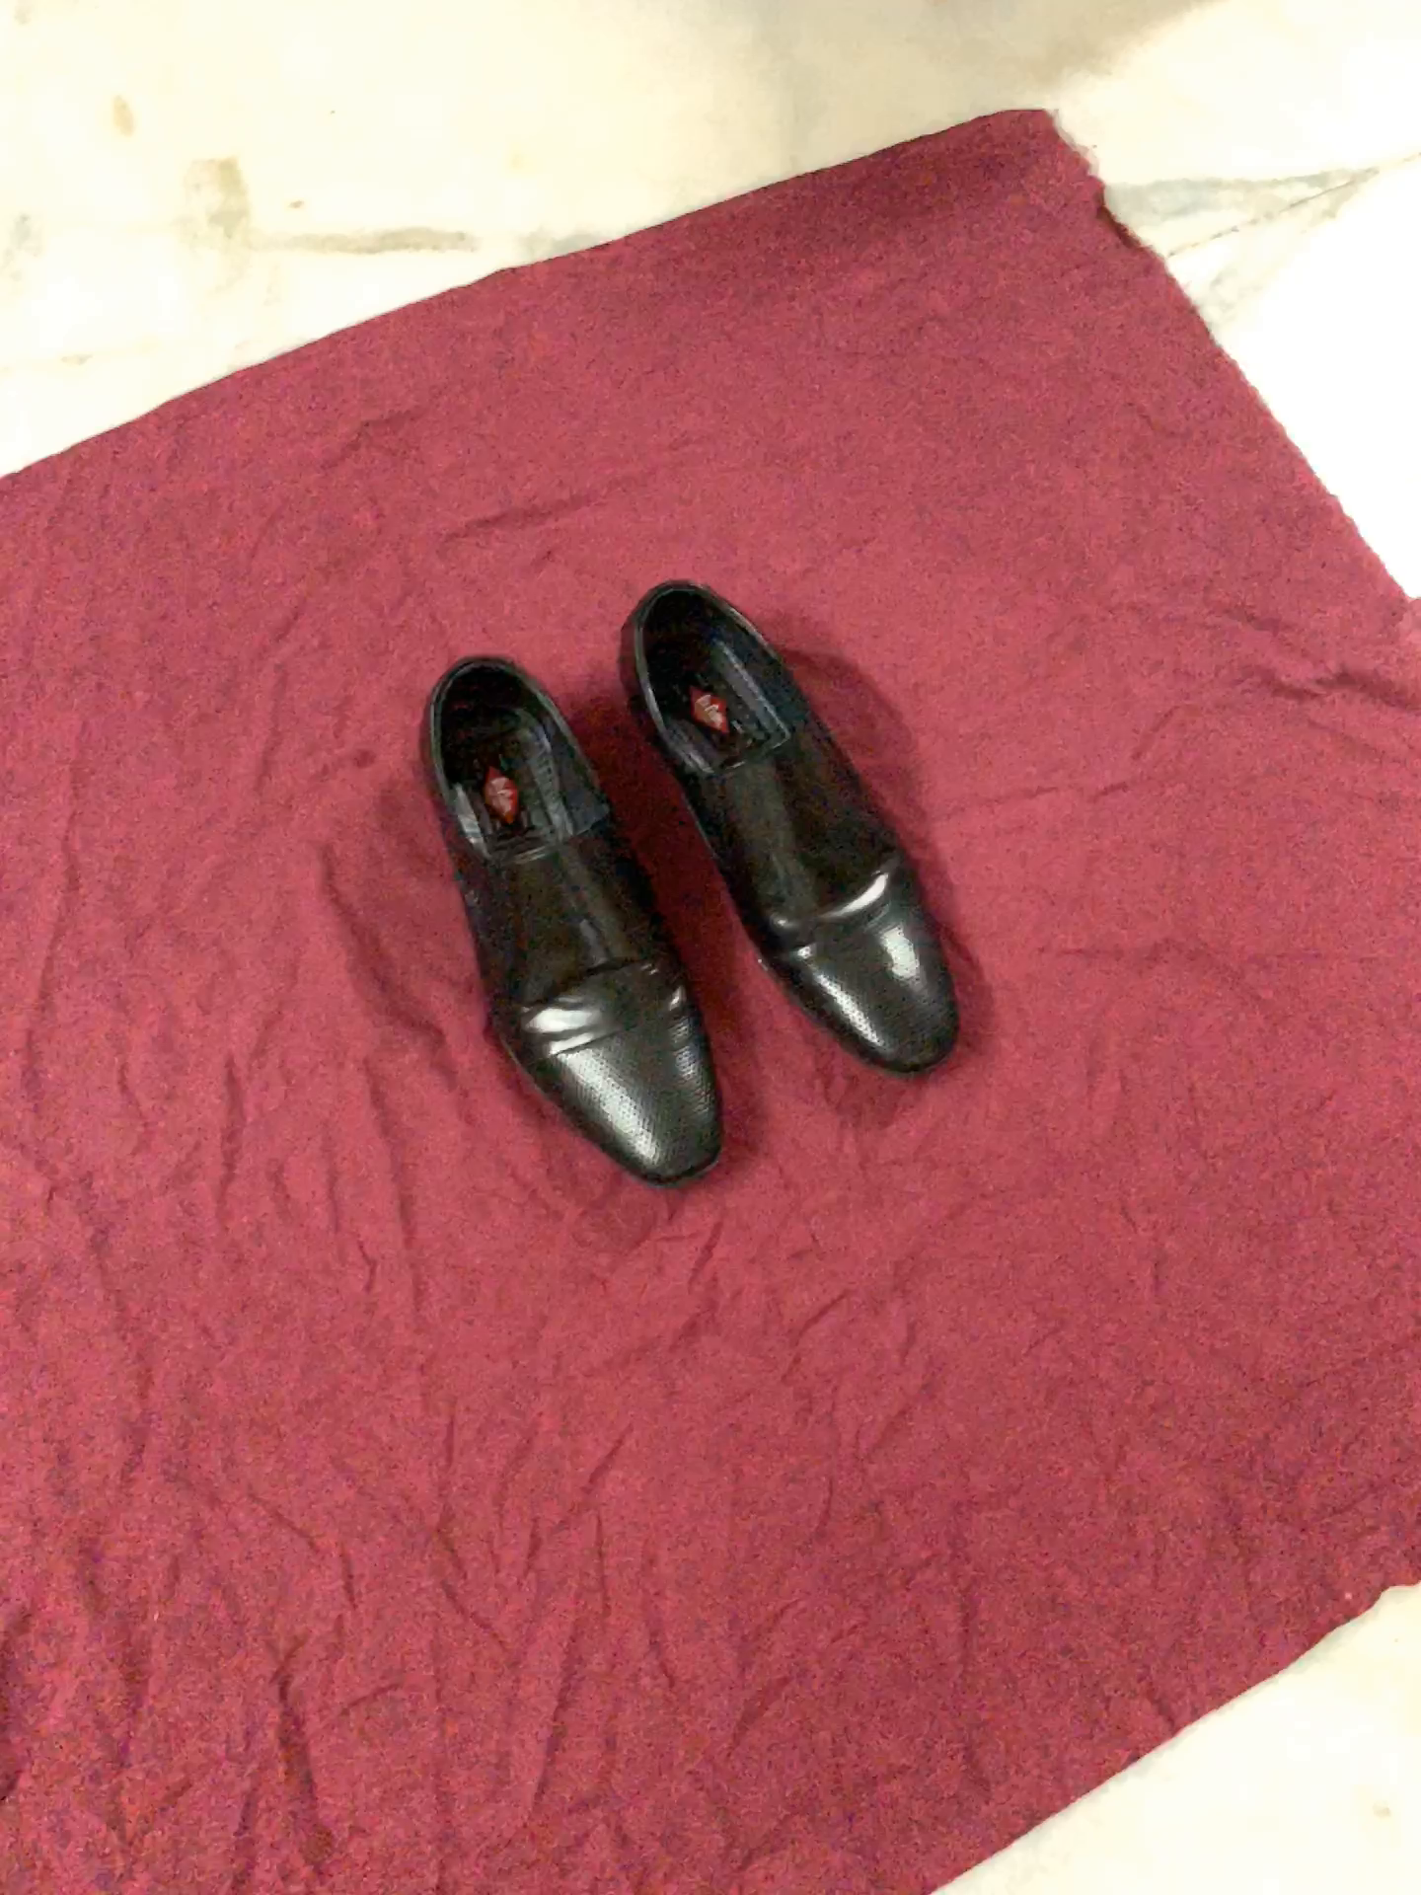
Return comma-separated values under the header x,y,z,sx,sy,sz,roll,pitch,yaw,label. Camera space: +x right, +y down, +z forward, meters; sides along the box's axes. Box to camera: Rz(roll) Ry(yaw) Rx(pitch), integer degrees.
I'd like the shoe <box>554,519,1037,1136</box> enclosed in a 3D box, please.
x,y,z,sx,sy,sz,roll,pitch,yaw,label
0.034,-0.063,0.747,0.100,0.100,0.291,-27,72,-11,shoe

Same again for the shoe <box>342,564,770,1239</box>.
x,y,z,sx,sy,sz,roll,pitch,yaw,label
-0.078,-0.025,0.711,0.100,0.100,0.301,-20,71,-8,shoe
